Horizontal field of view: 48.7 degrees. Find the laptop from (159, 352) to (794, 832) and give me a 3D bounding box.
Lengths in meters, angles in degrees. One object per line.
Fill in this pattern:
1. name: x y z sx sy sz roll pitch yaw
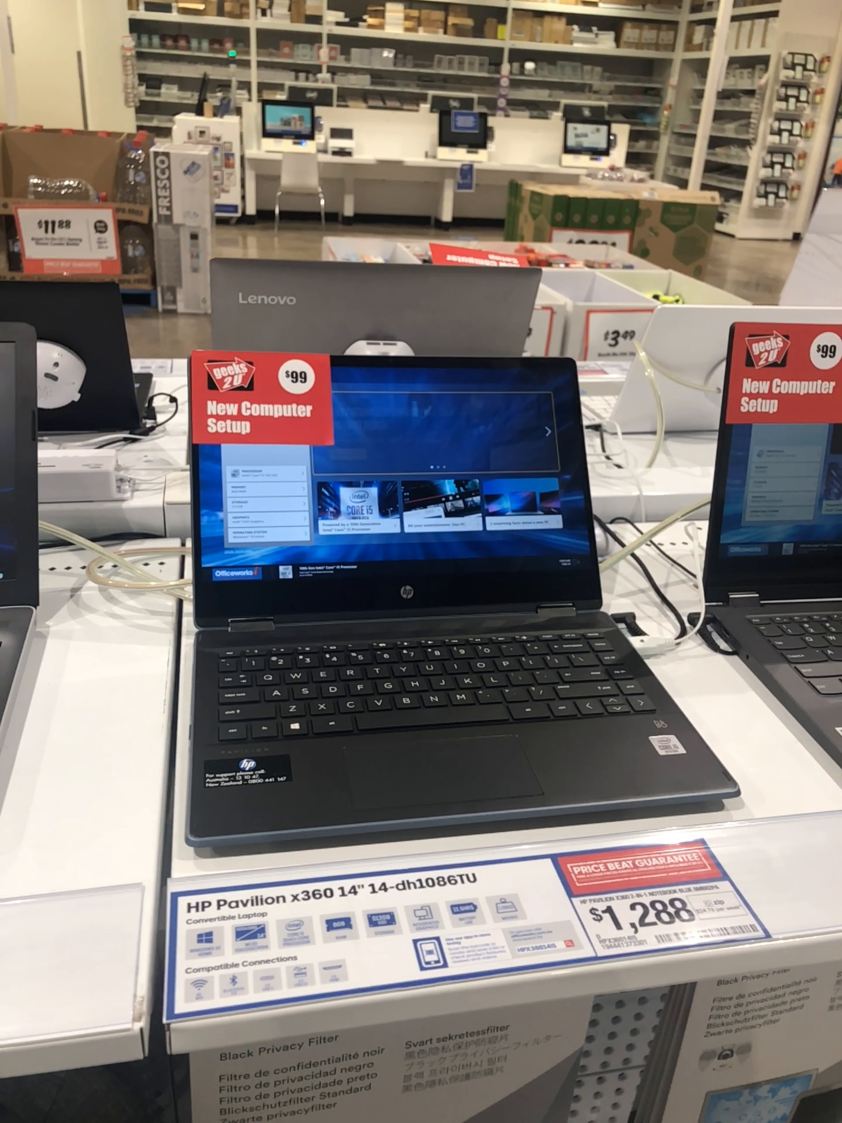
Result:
1. laptop: -0.001 -0.015 0.635 0.315 0.165 0.350 -2 26 -12
